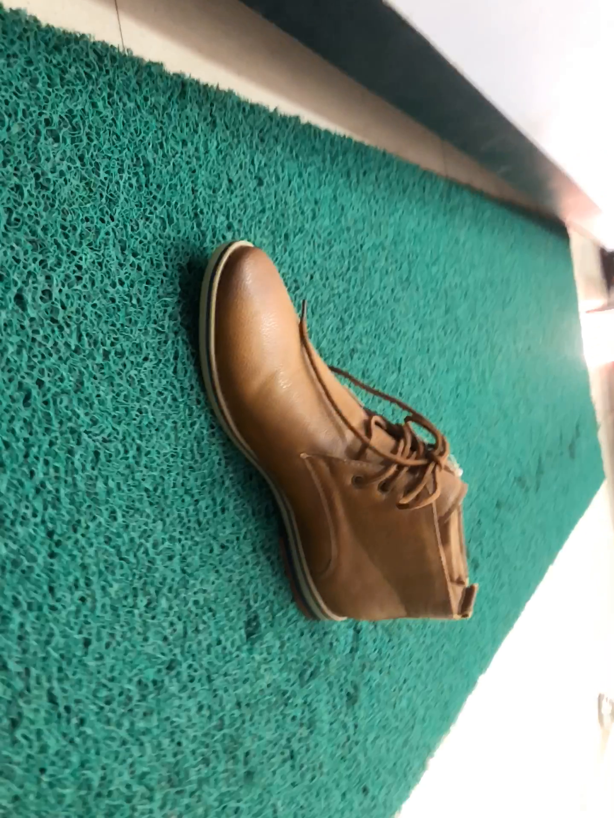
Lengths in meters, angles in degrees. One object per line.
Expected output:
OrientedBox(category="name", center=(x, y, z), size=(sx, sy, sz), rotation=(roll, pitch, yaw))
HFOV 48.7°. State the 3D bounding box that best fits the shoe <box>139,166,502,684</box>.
OrientedBox(category="shoe", center=(0.028, 0.019, 0.458), size=(0.121, 0.109, 0.311), rotation=(-48, 123, -51))
